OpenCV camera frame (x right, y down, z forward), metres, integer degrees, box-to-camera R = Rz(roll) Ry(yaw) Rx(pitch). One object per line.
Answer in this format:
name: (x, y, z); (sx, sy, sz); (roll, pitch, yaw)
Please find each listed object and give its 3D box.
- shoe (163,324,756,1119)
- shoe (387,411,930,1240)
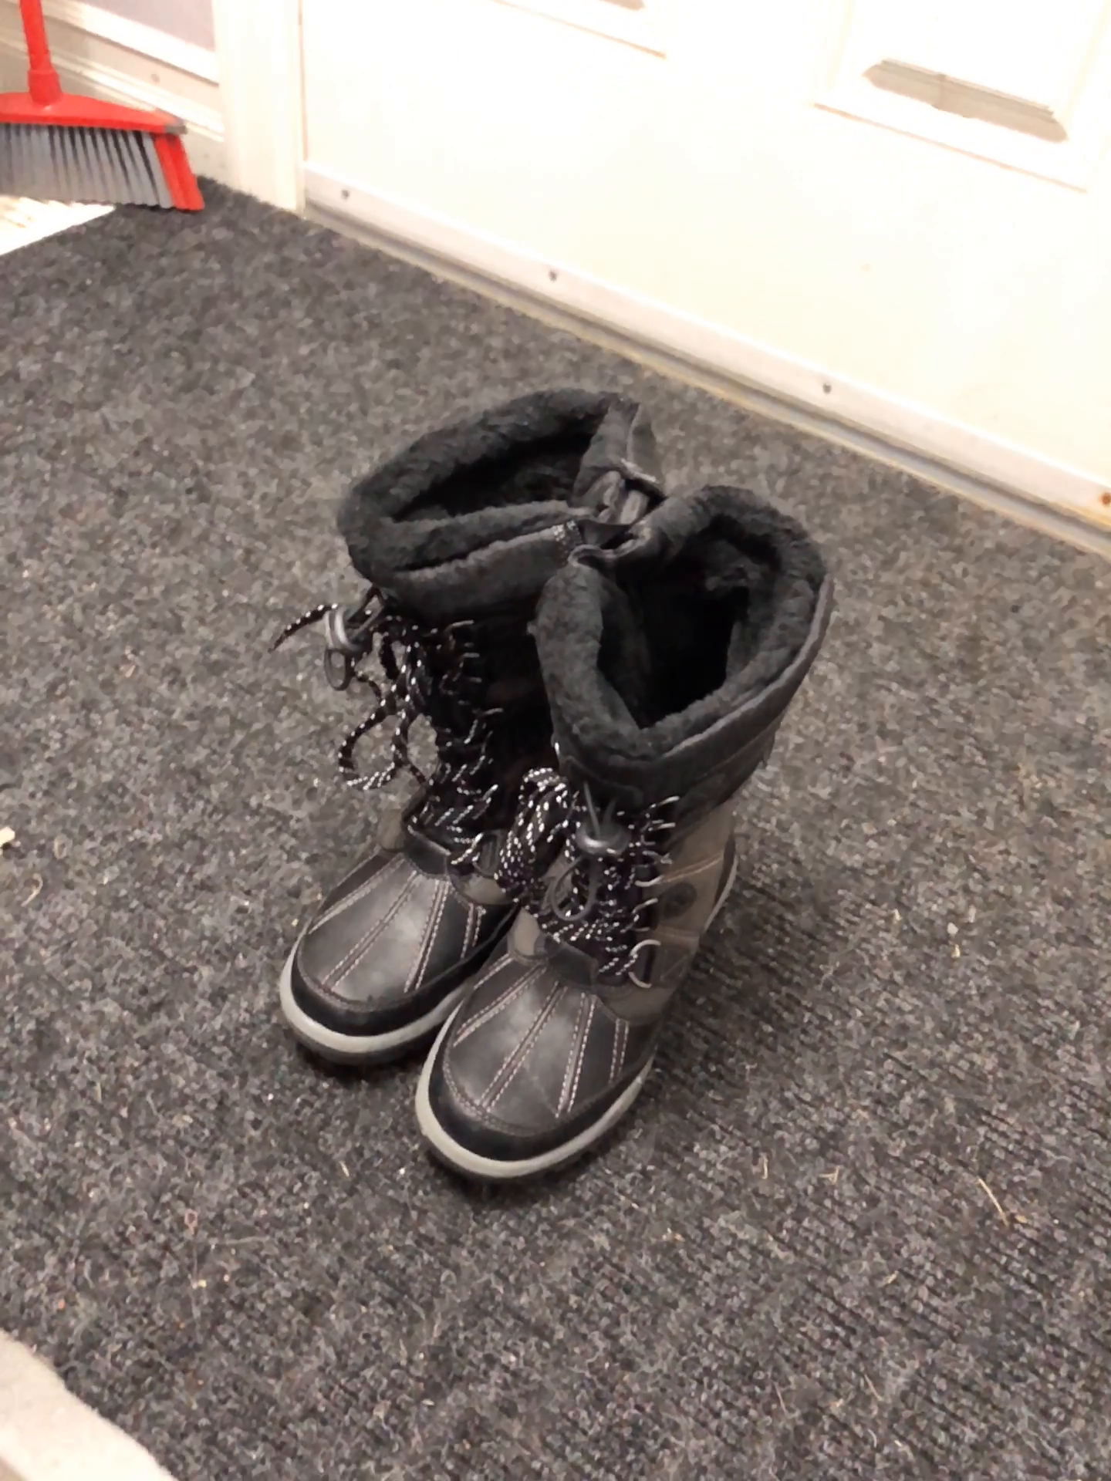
shoe: (-0.037, -0.010, 0.596); (0.110, 0.269, 0.261); (28, 49, 18)
shoe: (0.041, 0.038, 0.568); (0.100, 0.269, 0.261); (26, 48, 17)
